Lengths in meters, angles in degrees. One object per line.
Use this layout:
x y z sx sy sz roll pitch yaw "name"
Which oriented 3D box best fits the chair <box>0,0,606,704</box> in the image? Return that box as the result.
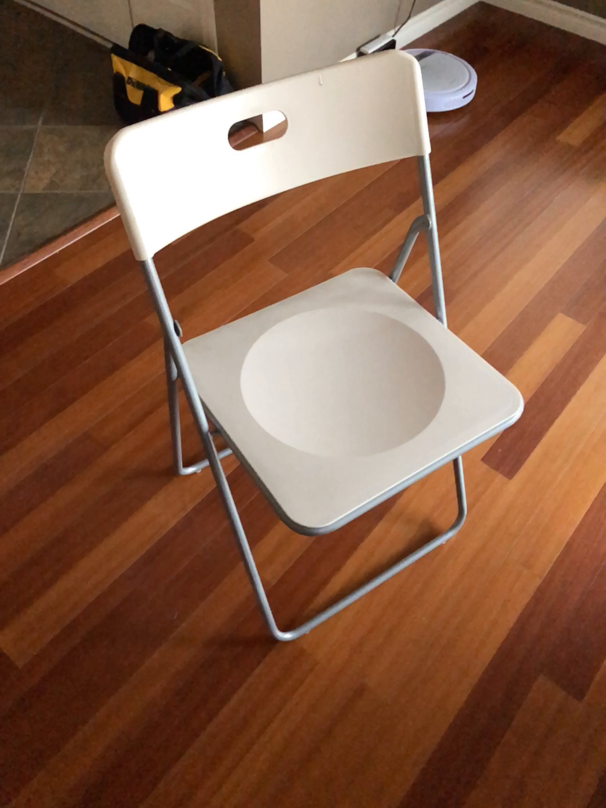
0.014 -0.076 0.820 0.461 0.577 0.542 -26 58 -20 "chair"
